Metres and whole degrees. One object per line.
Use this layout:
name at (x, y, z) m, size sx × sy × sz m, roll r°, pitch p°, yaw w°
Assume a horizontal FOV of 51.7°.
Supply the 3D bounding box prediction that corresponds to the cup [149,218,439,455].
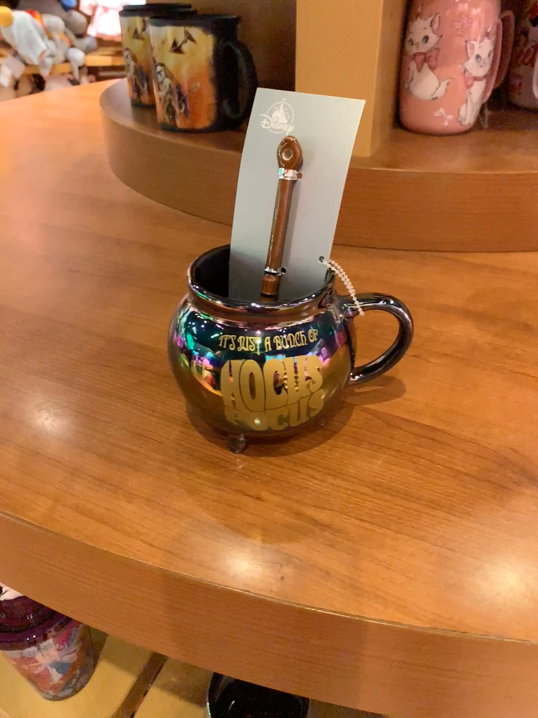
cup at (0.009, -0.017, 0.324) m, size 0.136 × 0.089 × 0.101 m, roll -4°, pitch 35°, yaw -3°
